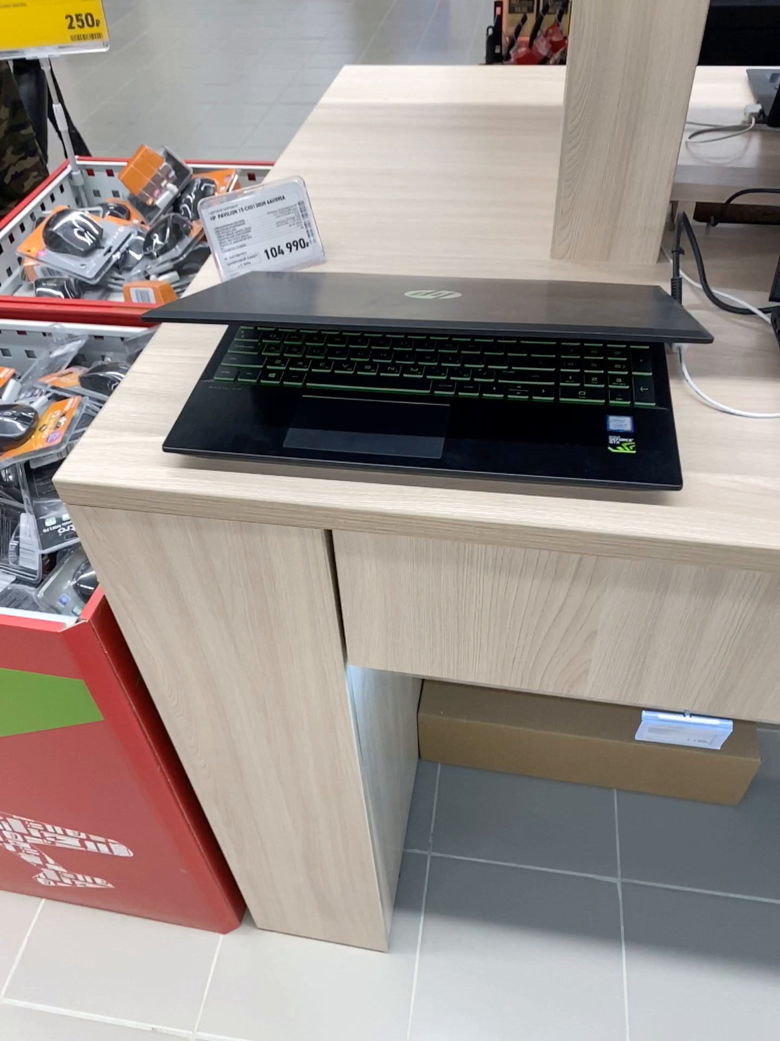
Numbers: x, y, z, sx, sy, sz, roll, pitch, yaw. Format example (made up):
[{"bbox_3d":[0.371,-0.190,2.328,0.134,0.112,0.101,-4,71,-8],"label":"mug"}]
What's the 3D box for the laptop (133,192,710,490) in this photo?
[{"bbox_3d":[0.031,-0.154,0.612,0.366,0.086,0.242,5,46,9],"label":"laptop"}]
